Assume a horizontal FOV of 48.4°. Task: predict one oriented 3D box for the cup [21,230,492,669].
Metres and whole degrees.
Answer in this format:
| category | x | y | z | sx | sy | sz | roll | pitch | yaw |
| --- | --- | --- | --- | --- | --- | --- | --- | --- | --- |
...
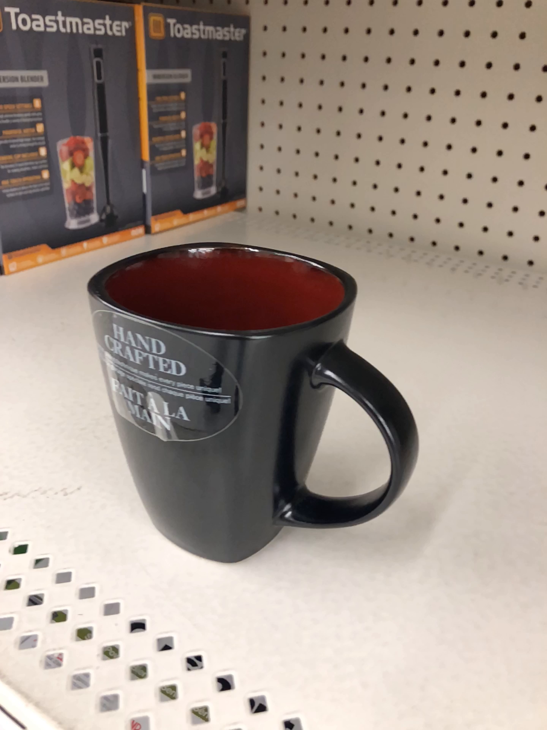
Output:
| category | x | y | z | sx | sy | sz | roll | pitch | yaw |
| --- | --- | --- | --- | --- | --- | --- | --- | --- | --- |
| cup | -0.006 | 0.017 | 0.247 | 0.143 | 0.099 | 0.100 | 17 | 31 | 27 |
